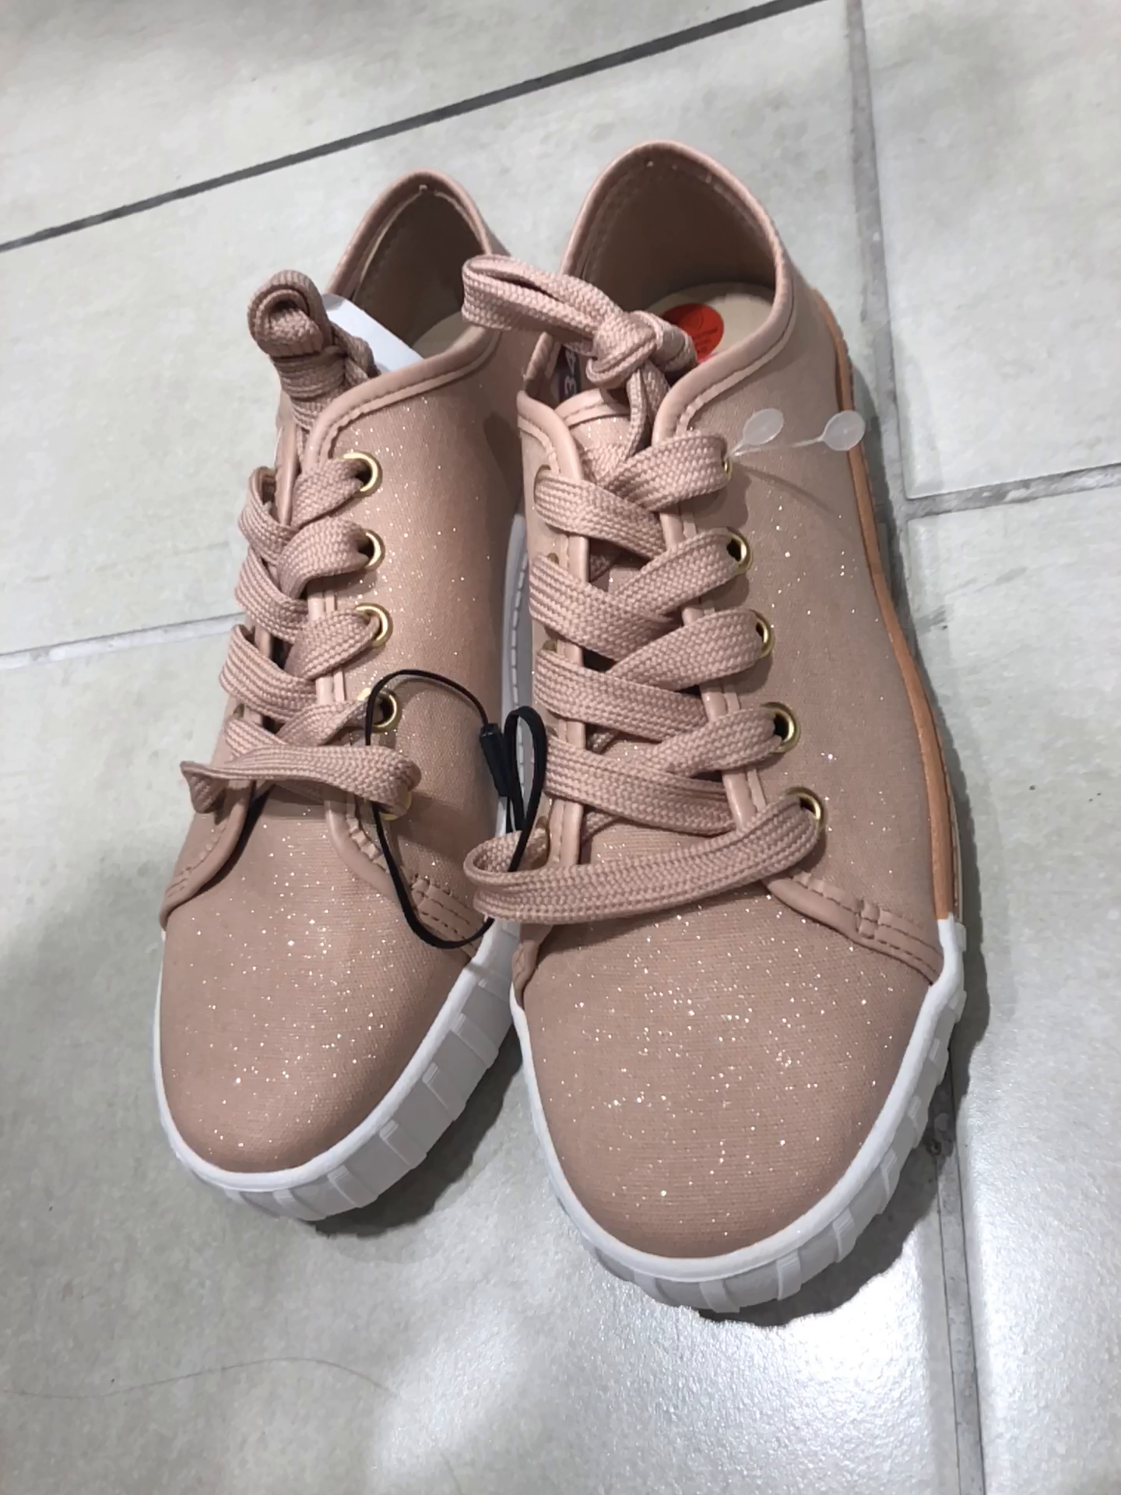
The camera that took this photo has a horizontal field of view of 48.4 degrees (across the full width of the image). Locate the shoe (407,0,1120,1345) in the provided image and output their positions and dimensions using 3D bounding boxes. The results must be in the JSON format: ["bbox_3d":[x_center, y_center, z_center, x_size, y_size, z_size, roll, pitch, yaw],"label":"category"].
[{"bbox_3d":[0.045,-0.021,0.243,0.090,0.100,0.241,-7,61,19],"label":"shoe"}]

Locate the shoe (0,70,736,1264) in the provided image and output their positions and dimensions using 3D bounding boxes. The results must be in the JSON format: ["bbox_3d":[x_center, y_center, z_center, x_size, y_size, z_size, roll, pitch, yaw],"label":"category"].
[{"bbox_3d":[-0.026,-0.021,0.287,0.090,0.100,0.241,-1,63,22],"label":"shoe"}]
